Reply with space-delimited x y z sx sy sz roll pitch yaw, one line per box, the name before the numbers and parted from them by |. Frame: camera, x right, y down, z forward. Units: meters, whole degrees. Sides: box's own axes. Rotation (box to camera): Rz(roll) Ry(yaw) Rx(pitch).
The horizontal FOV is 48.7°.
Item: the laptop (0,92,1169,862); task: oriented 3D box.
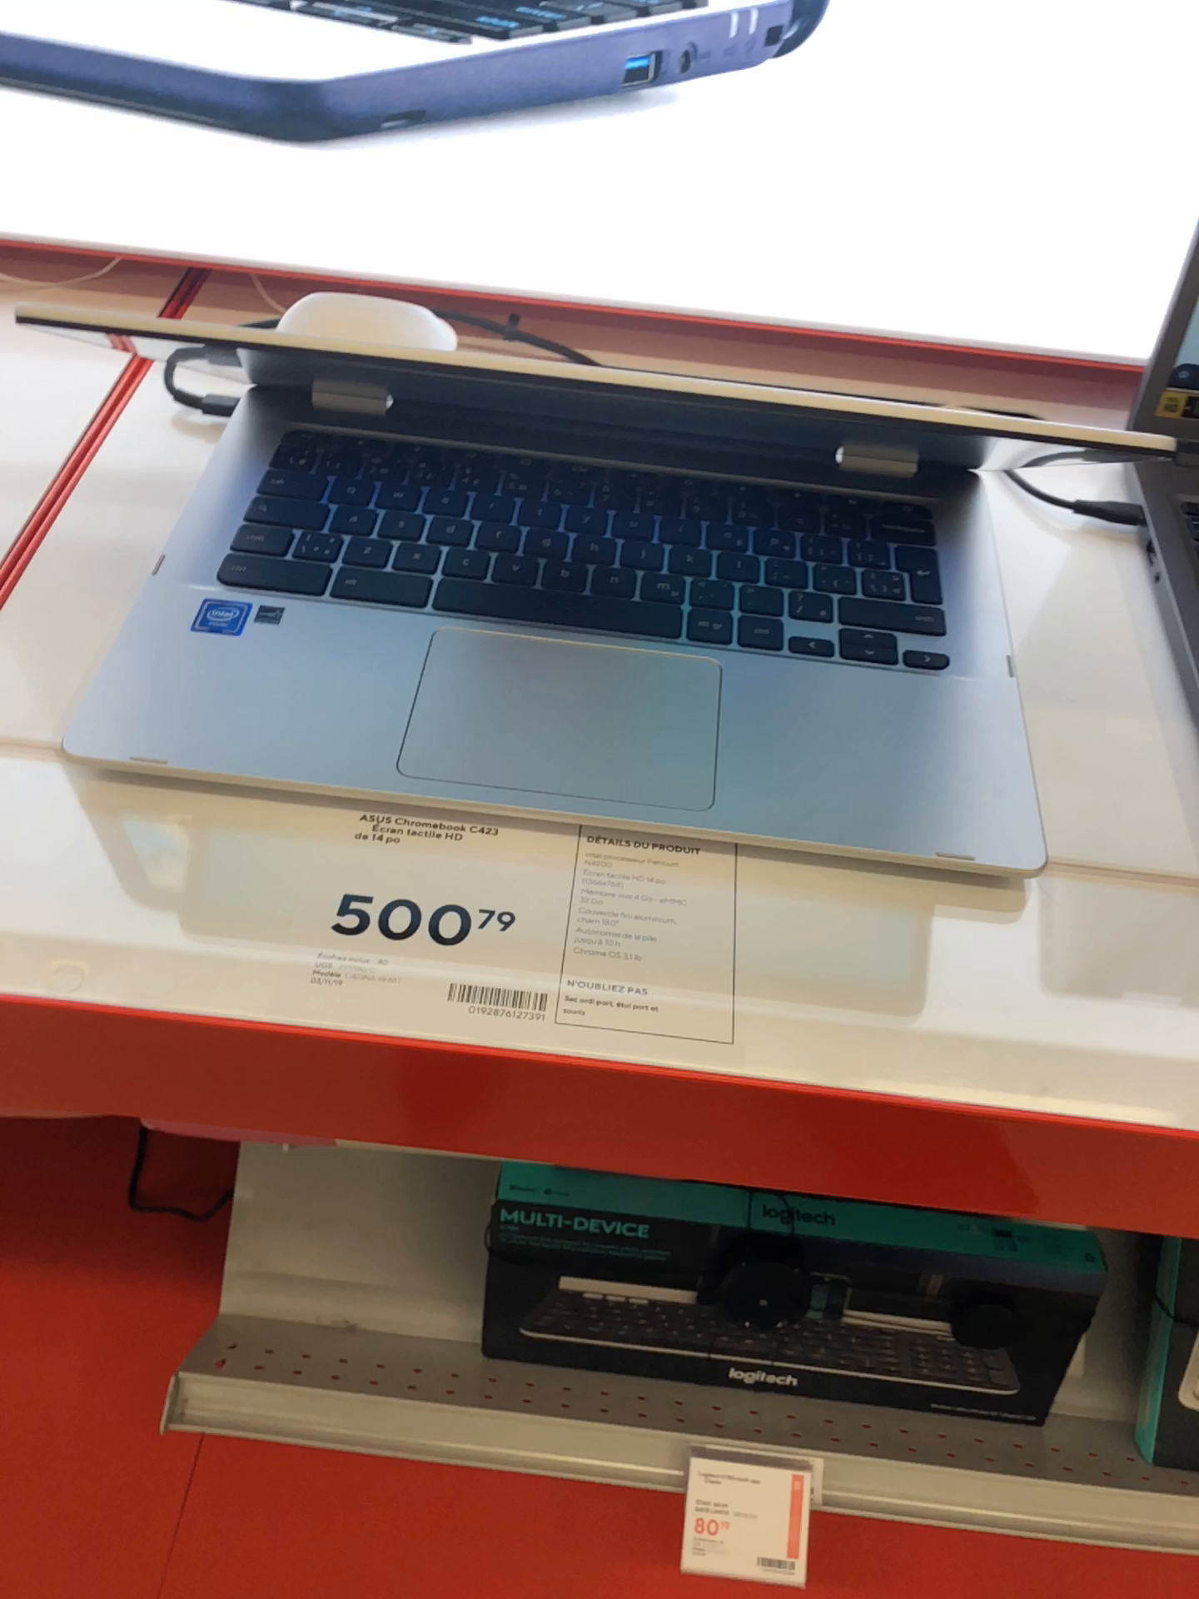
laptop | -0.001 -0.118 0.453 0.311 0.119 0.214 7 48 0
